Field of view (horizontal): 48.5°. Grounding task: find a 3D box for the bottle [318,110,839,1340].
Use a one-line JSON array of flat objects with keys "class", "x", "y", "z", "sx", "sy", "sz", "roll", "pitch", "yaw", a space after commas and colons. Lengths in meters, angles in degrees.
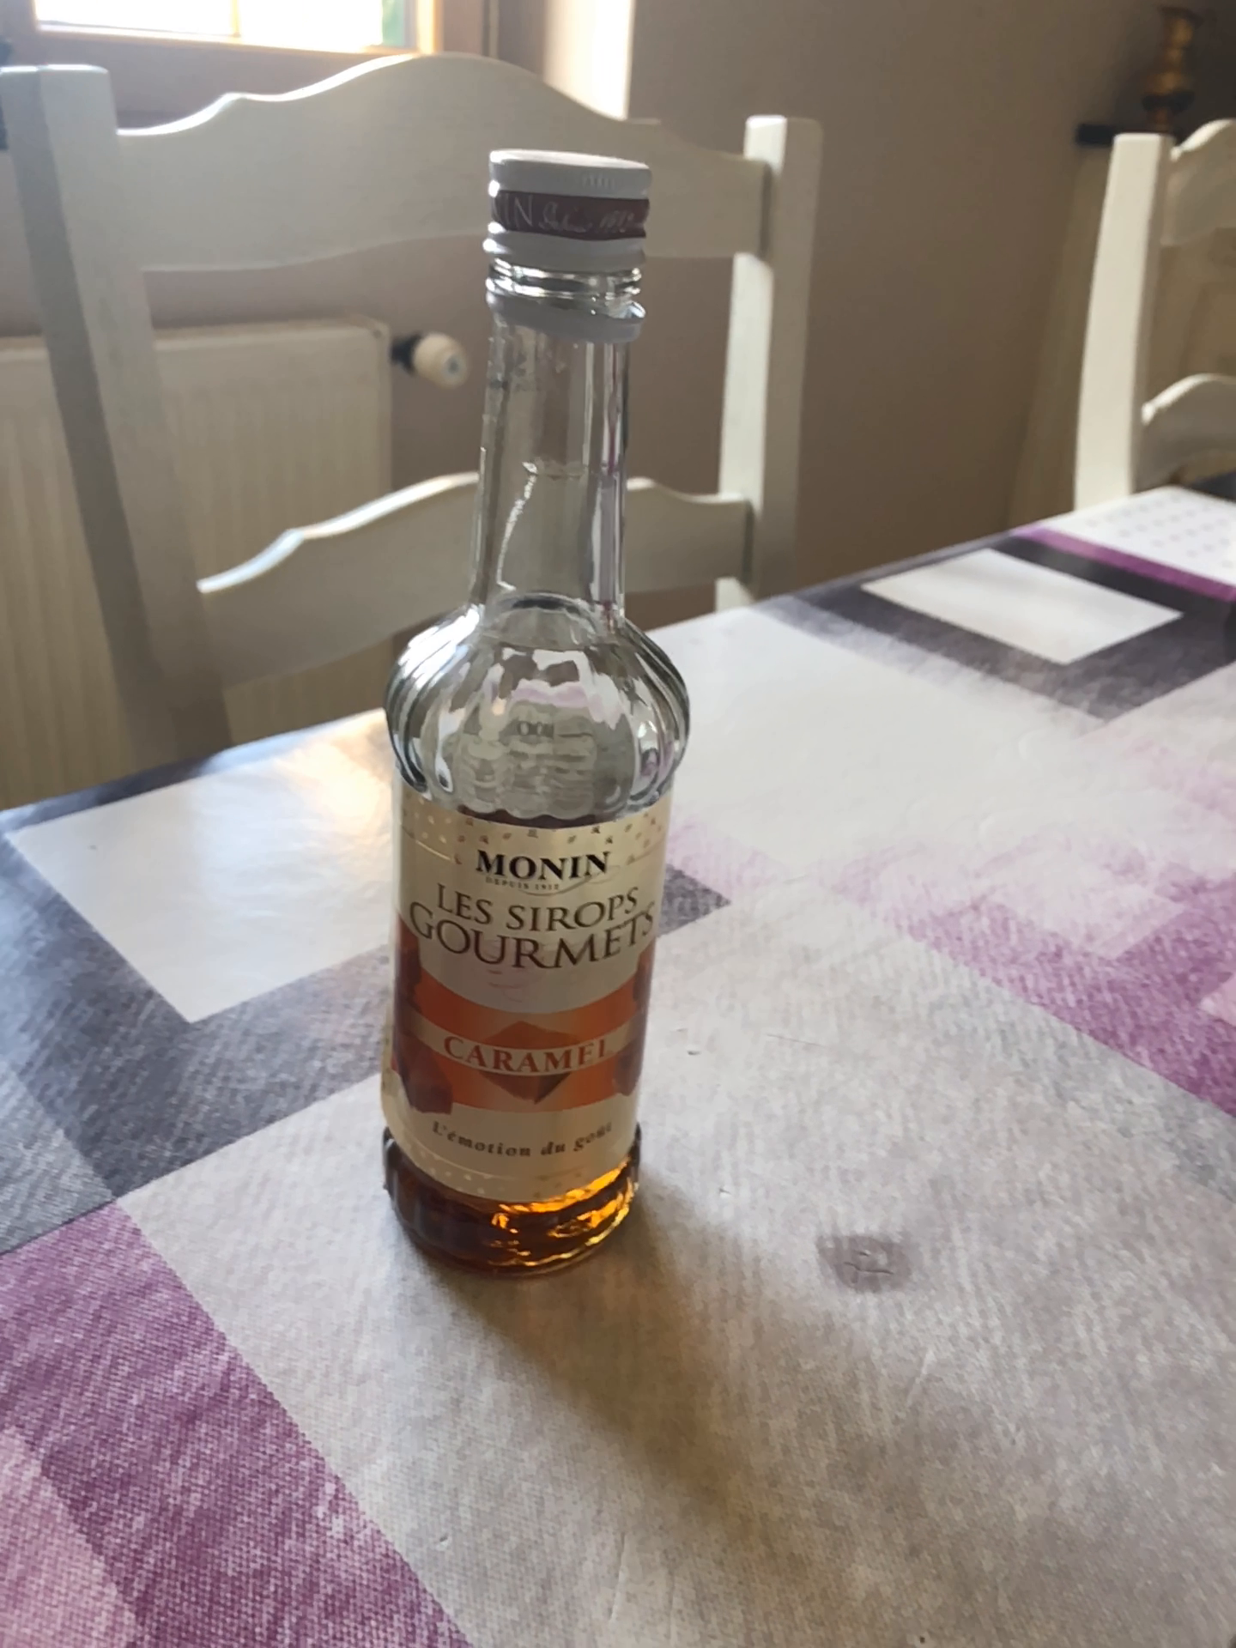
[{"class": "bottle", "x": -0.018, "y": -0.011, "z": 0.287, "sx": 0.070, "sy": 0.239, "sz": 0.070, "roll": 3, "pitch": 28, "yaw": -2}]
